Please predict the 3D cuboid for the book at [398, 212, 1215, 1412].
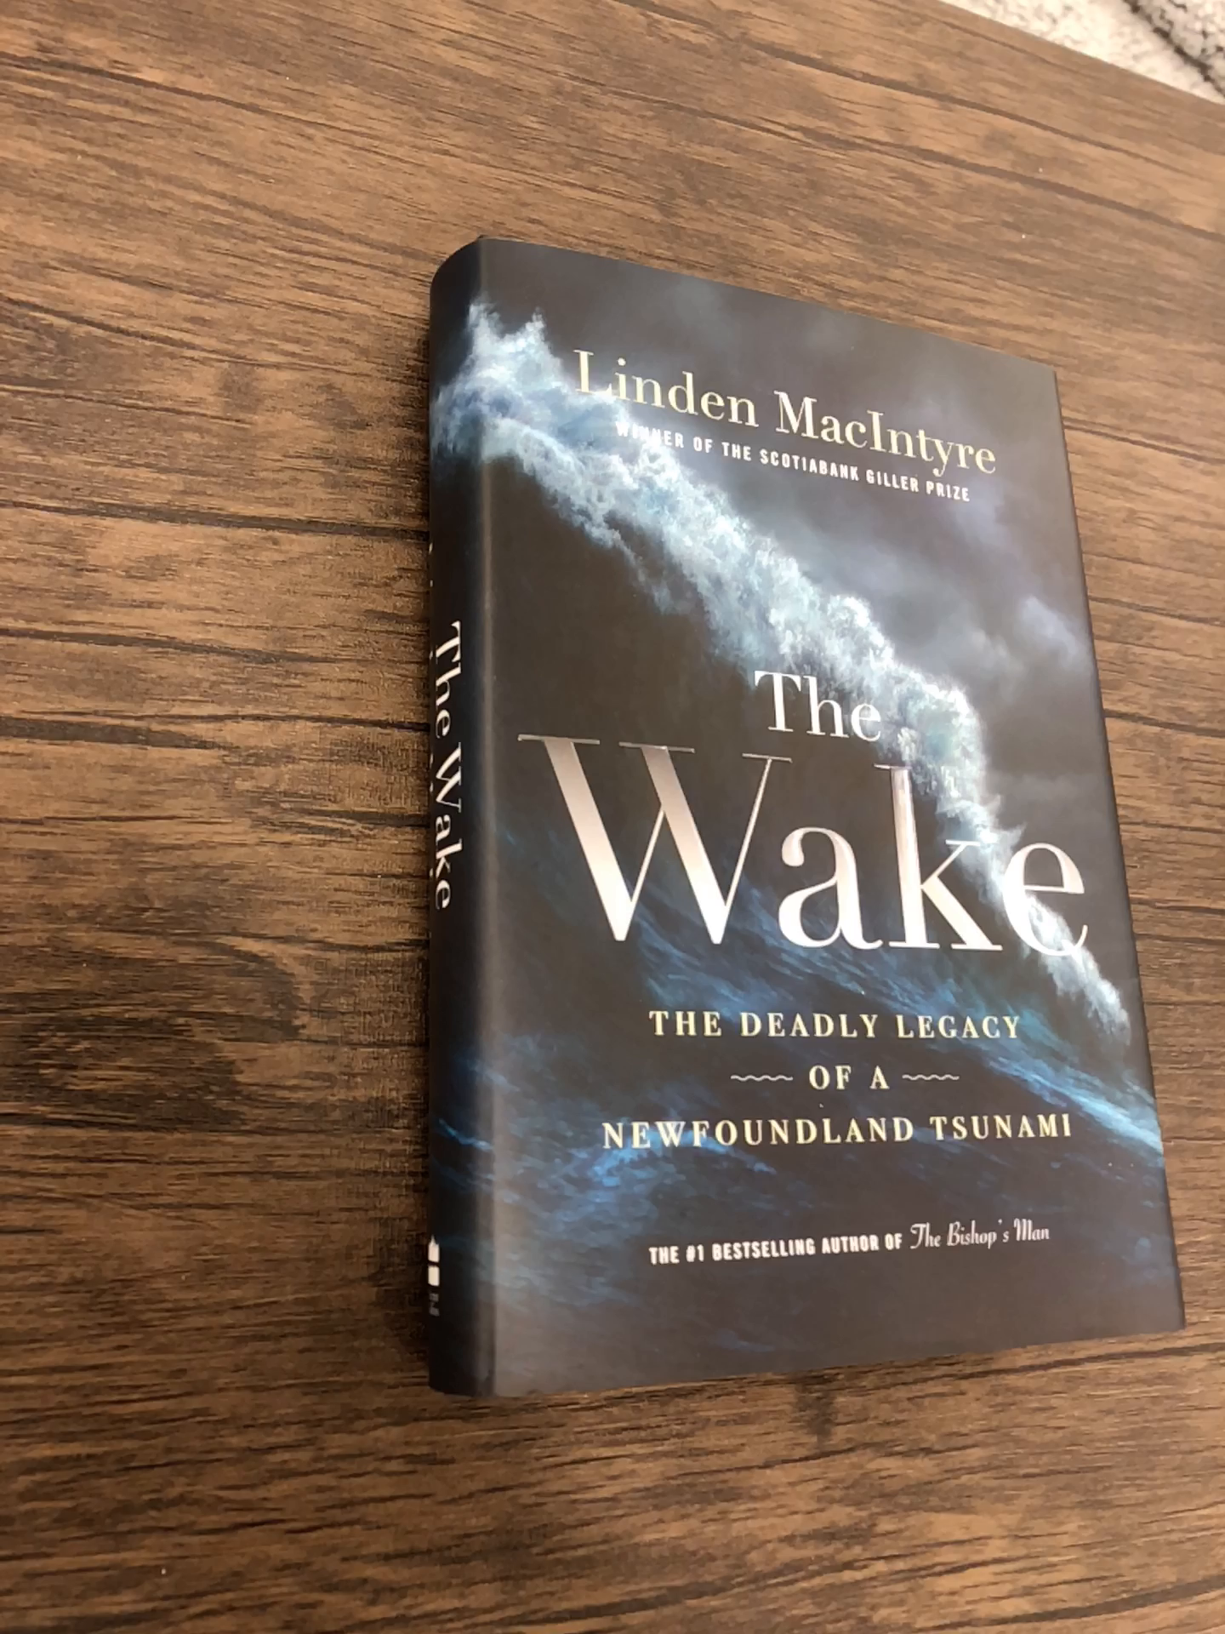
[{"bbox_3d":[0.039,-0.002,0.304,0.160,0.050,0.230,5,74,-22],"label":"book"}]
